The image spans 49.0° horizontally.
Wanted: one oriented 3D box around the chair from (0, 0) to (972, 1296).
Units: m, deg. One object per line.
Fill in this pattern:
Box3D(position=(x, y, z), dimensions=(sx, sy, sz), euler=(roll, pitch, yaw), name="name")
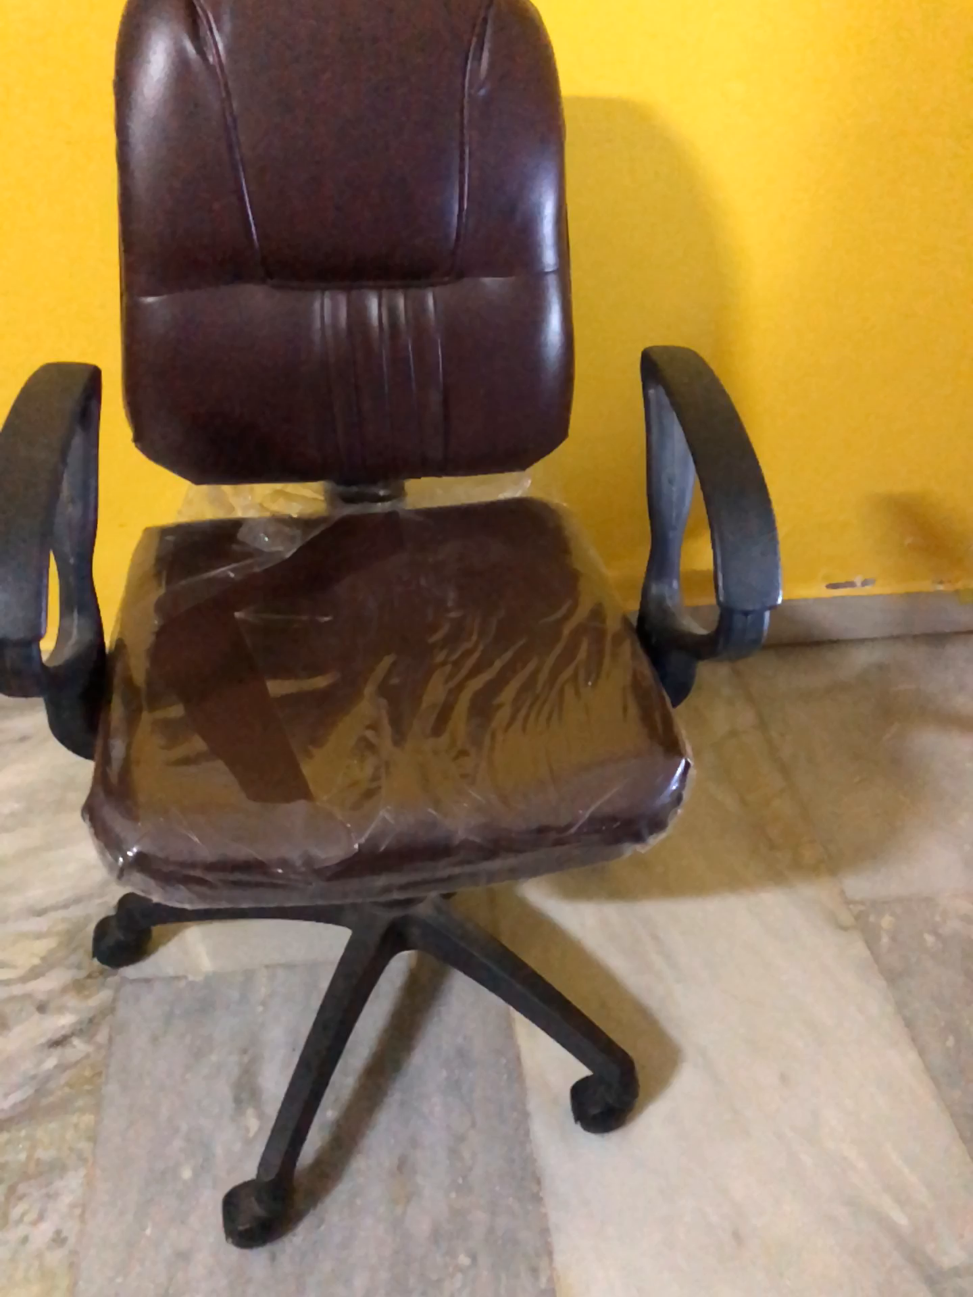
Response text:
Box3D(position=(-0.100, -0.044, 0.953), dimensions=(0.691, 0.973, 0.684), euler=(-7, 40, -10), name="chair")
